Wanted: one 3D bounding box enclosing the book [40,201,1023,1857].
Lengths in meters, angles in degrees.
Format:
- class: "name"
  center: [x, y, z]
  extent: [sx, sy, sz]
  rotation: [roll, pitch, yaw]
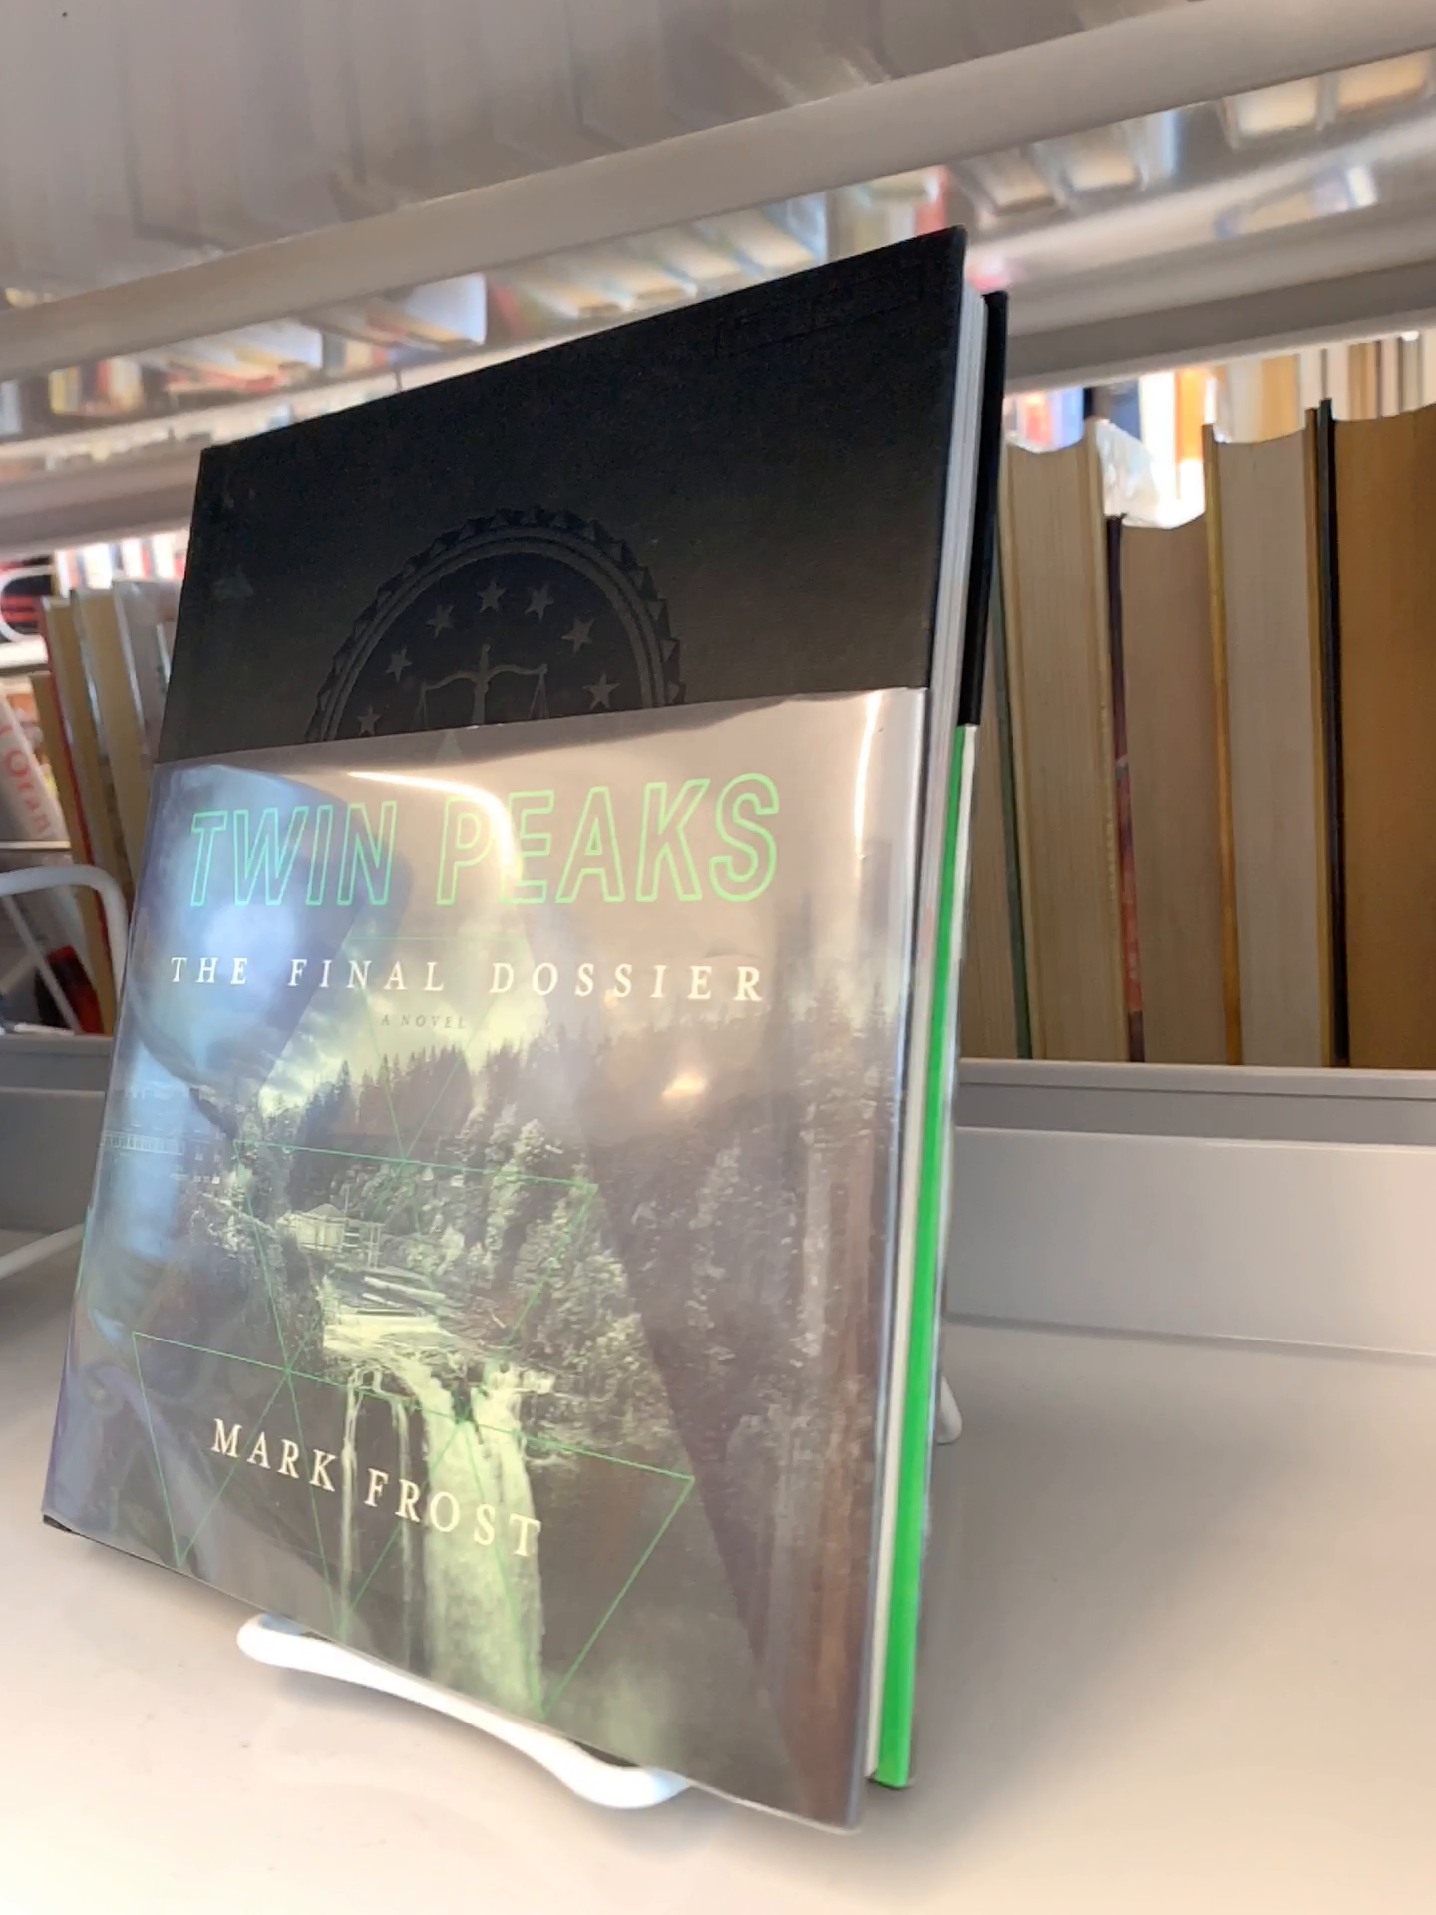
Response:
- class: "book"
  center: [-0.045, 0.003, 0.267]
  extent: [0.190, 0.228, 0.020]
  rotation: [1, -7, 36]
